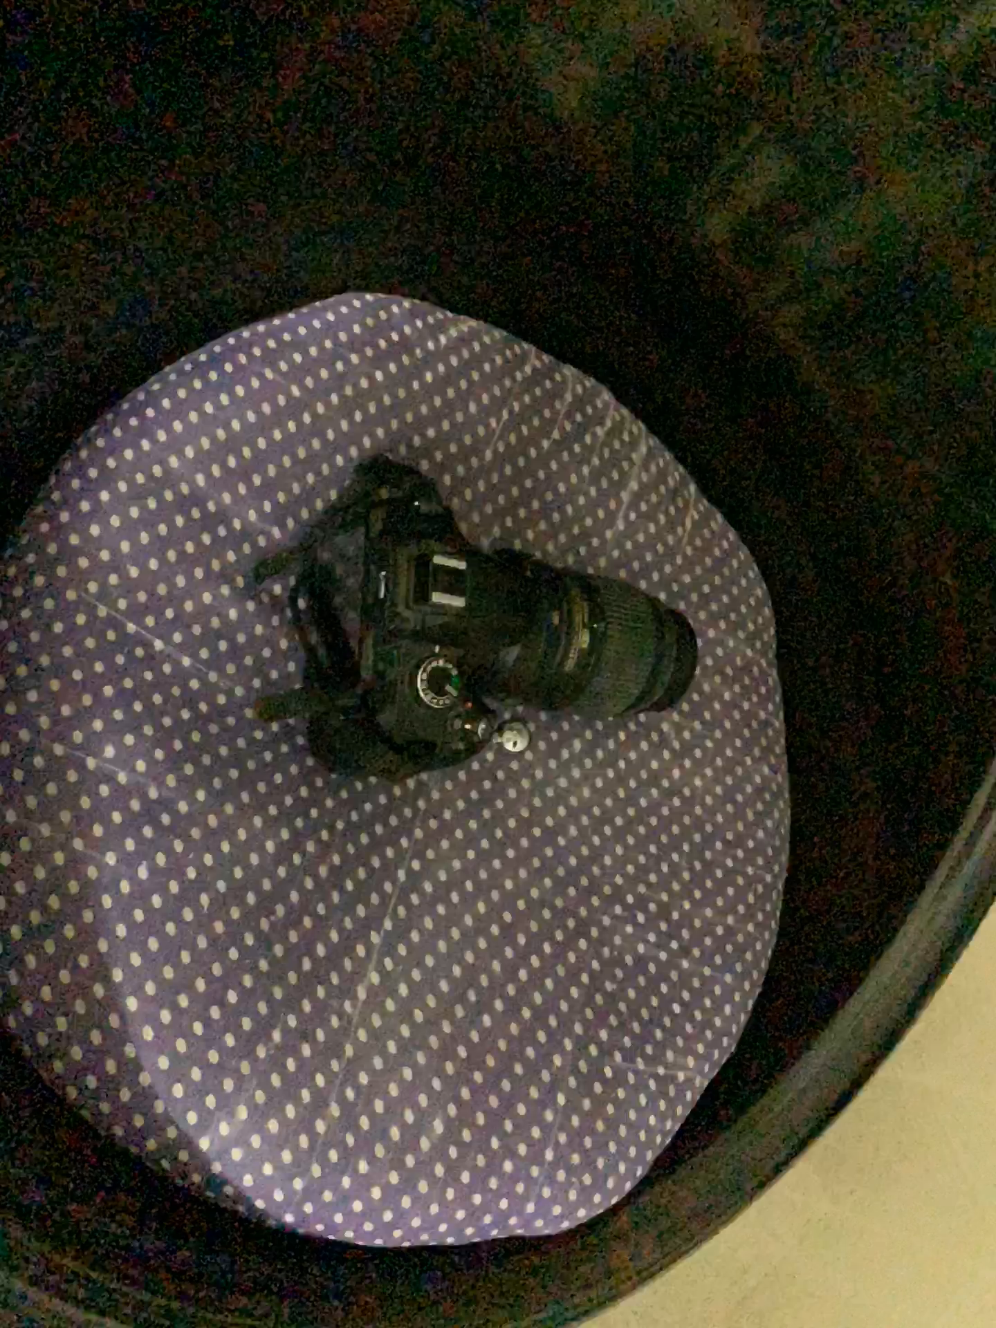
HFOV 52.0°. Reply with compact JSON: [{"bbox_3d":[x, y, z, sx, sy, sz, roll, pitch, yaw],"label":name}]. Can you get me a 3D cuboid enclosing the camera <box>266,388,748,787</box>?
[{"bbox_3d":[0.007,-0.020,0.482,0.200,0.100,0.140,8,76,-35],"label":"camera"}]
